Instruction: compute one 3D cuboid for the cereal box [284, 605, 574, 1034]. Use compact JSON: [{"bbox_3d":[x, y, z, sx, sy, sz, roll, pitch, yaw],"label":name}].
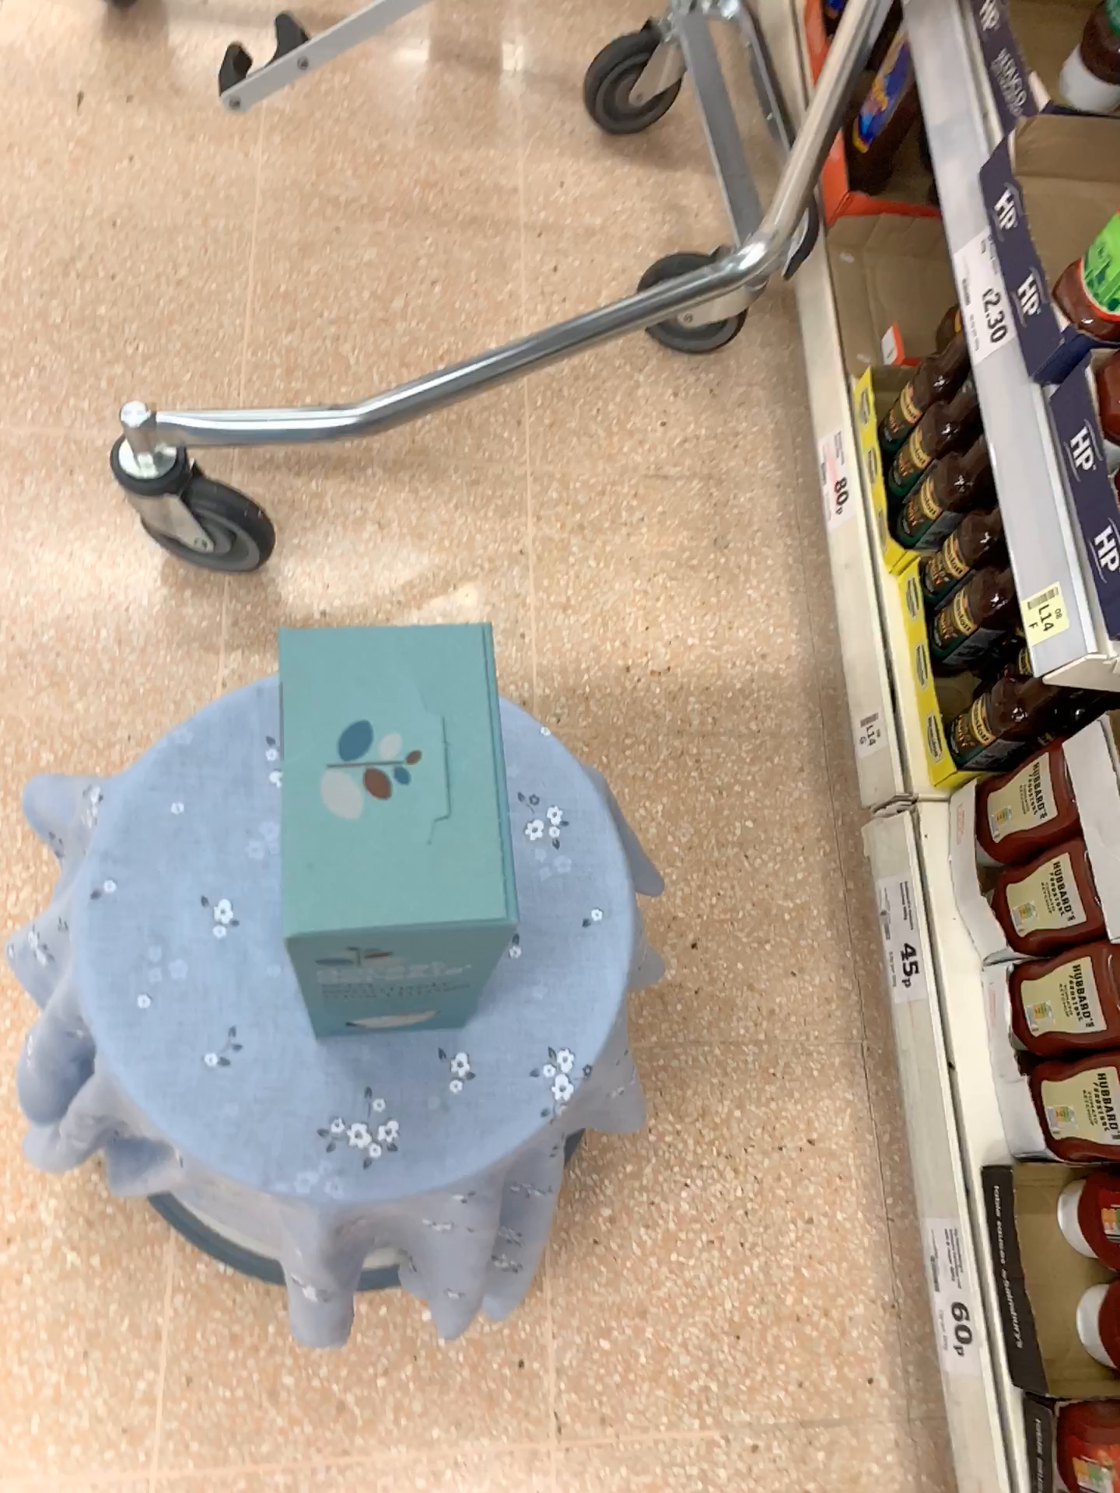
[{"bbox_3d":[-0.067,0.048,0.506,0.090,0.239,0.120,-4,70,-12],"label":"cereal box"}]
